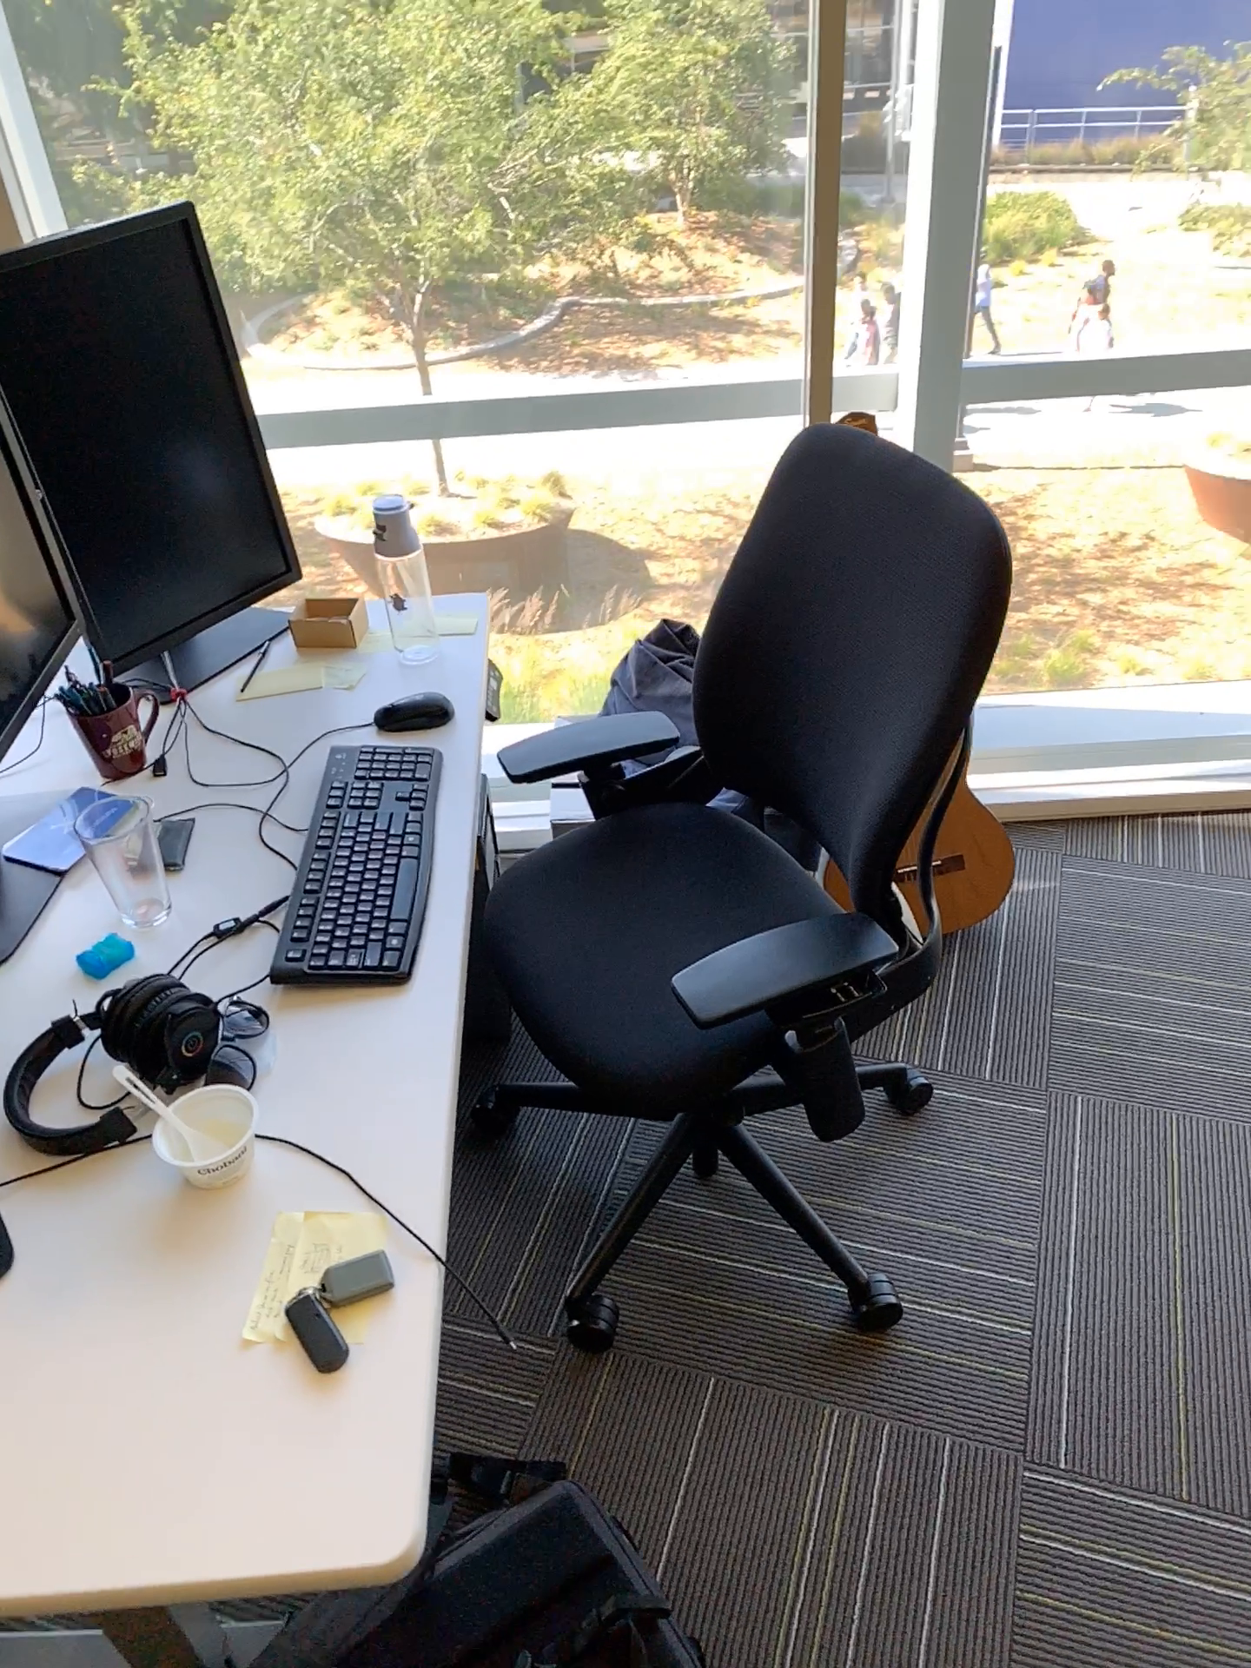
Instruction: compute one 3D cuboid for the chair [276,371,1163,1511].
[{"bbox_3d":[0.097,0.142,1.763,0.690,1.222,0.714,-22,40,-21],"label":"chair"}]
